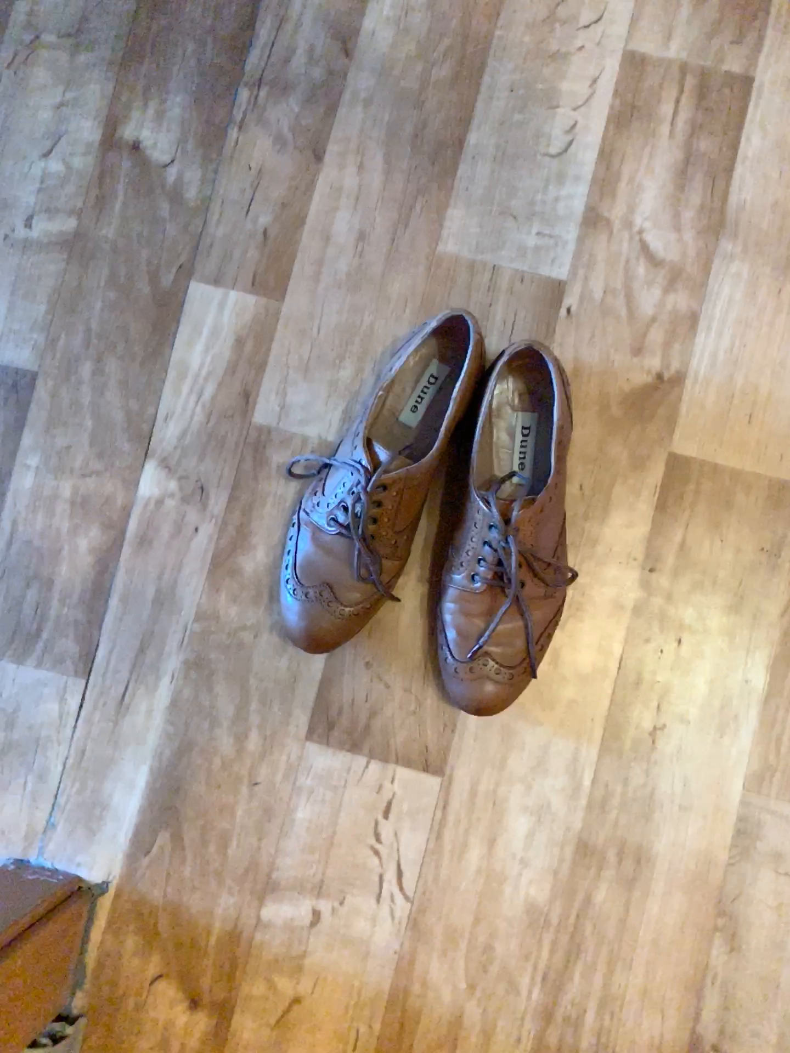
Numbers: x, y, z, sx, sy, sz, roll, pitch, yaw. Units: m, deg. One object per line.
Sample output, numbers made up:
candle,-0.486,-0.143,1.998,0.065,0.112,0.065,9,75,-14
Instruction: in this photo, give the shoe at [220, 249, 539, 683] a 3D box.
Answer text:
shoe,-0.005,-0.032,0.527,0.090,0.120,0.240,25,86,5

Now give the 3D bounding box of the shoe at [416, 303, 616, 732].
shoe,0.071,-0.002,0.505,0.080,0.120,0.230,8,84,4
